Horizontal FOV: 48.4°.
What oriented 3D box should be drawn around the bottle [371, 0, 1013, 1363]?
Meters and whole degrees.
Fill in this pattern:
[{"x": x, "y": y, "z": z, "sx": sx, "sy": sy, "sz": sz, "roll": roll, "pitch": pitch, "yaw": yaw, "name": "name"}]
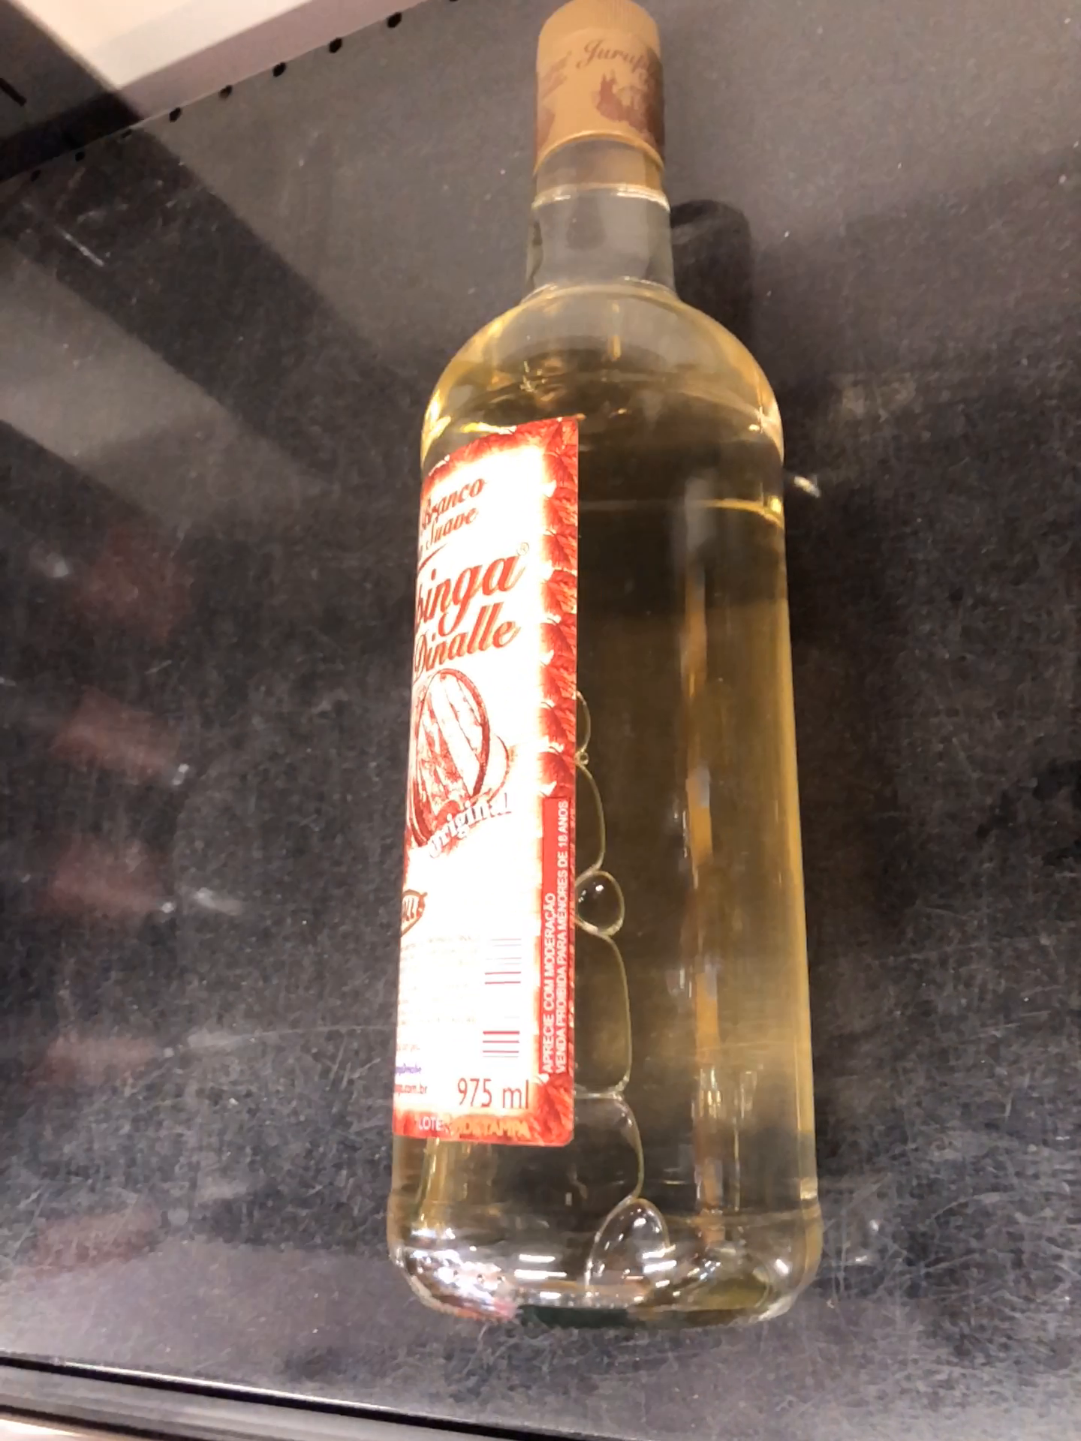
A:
[{"x": 0.020, "y": -0.039, "z": 0.259, "sx": 0.100, "sy": 0.080, "sz": 0.300, "roll": 2, "pitch": 75, "yaw": -7, "name": "bottle"}]
